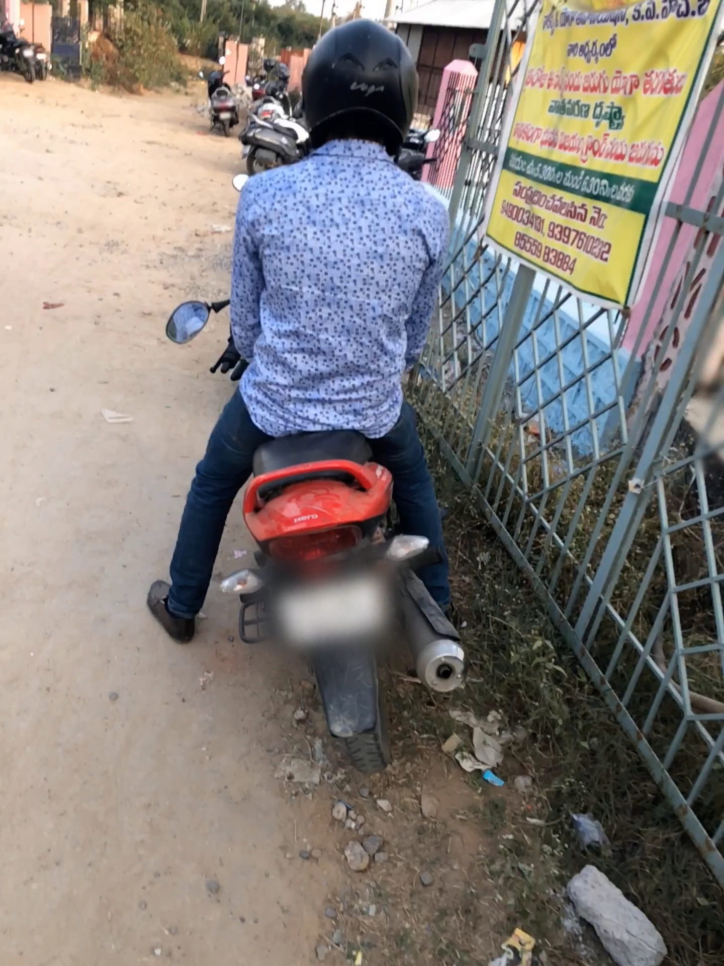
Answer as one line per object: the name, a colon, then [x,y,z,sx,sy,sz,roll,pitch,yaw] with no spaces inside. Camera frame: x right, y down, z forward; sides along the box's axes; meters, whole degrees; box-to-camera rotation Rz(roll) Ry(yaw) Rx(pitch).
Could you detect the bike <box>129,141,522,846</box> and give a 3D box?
bike: [-0.324,-0.142,2.217,0.582,1.176,1.697,2,30,-17]
